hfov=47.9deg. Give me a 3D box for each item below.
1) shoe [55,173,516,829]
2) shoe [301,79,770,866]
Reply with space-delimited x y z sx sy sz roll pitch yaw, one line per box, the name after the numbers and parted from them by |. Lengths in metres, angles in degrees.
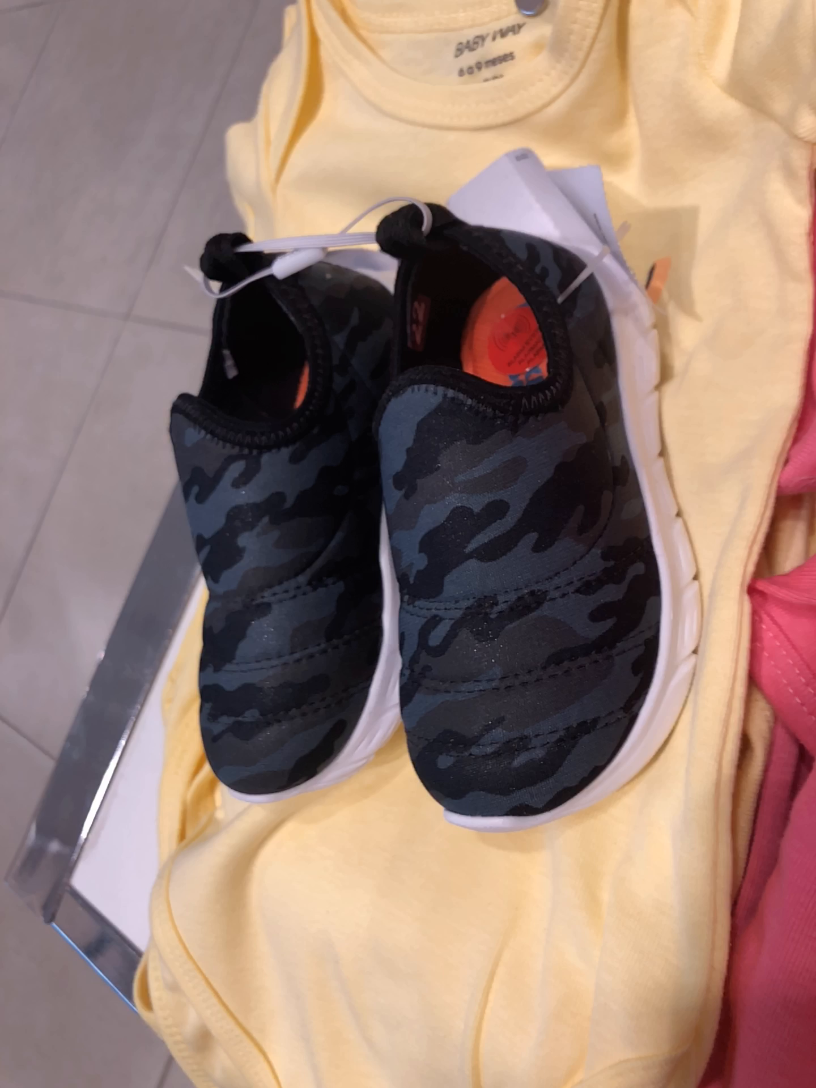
-0.026 -0.005 0.253 0.070 0.080 0.150 -3 73 34 | shoe
0.029 -0.008 0.208 0.070 0.070 0.150 -11 68 32 | shoe
